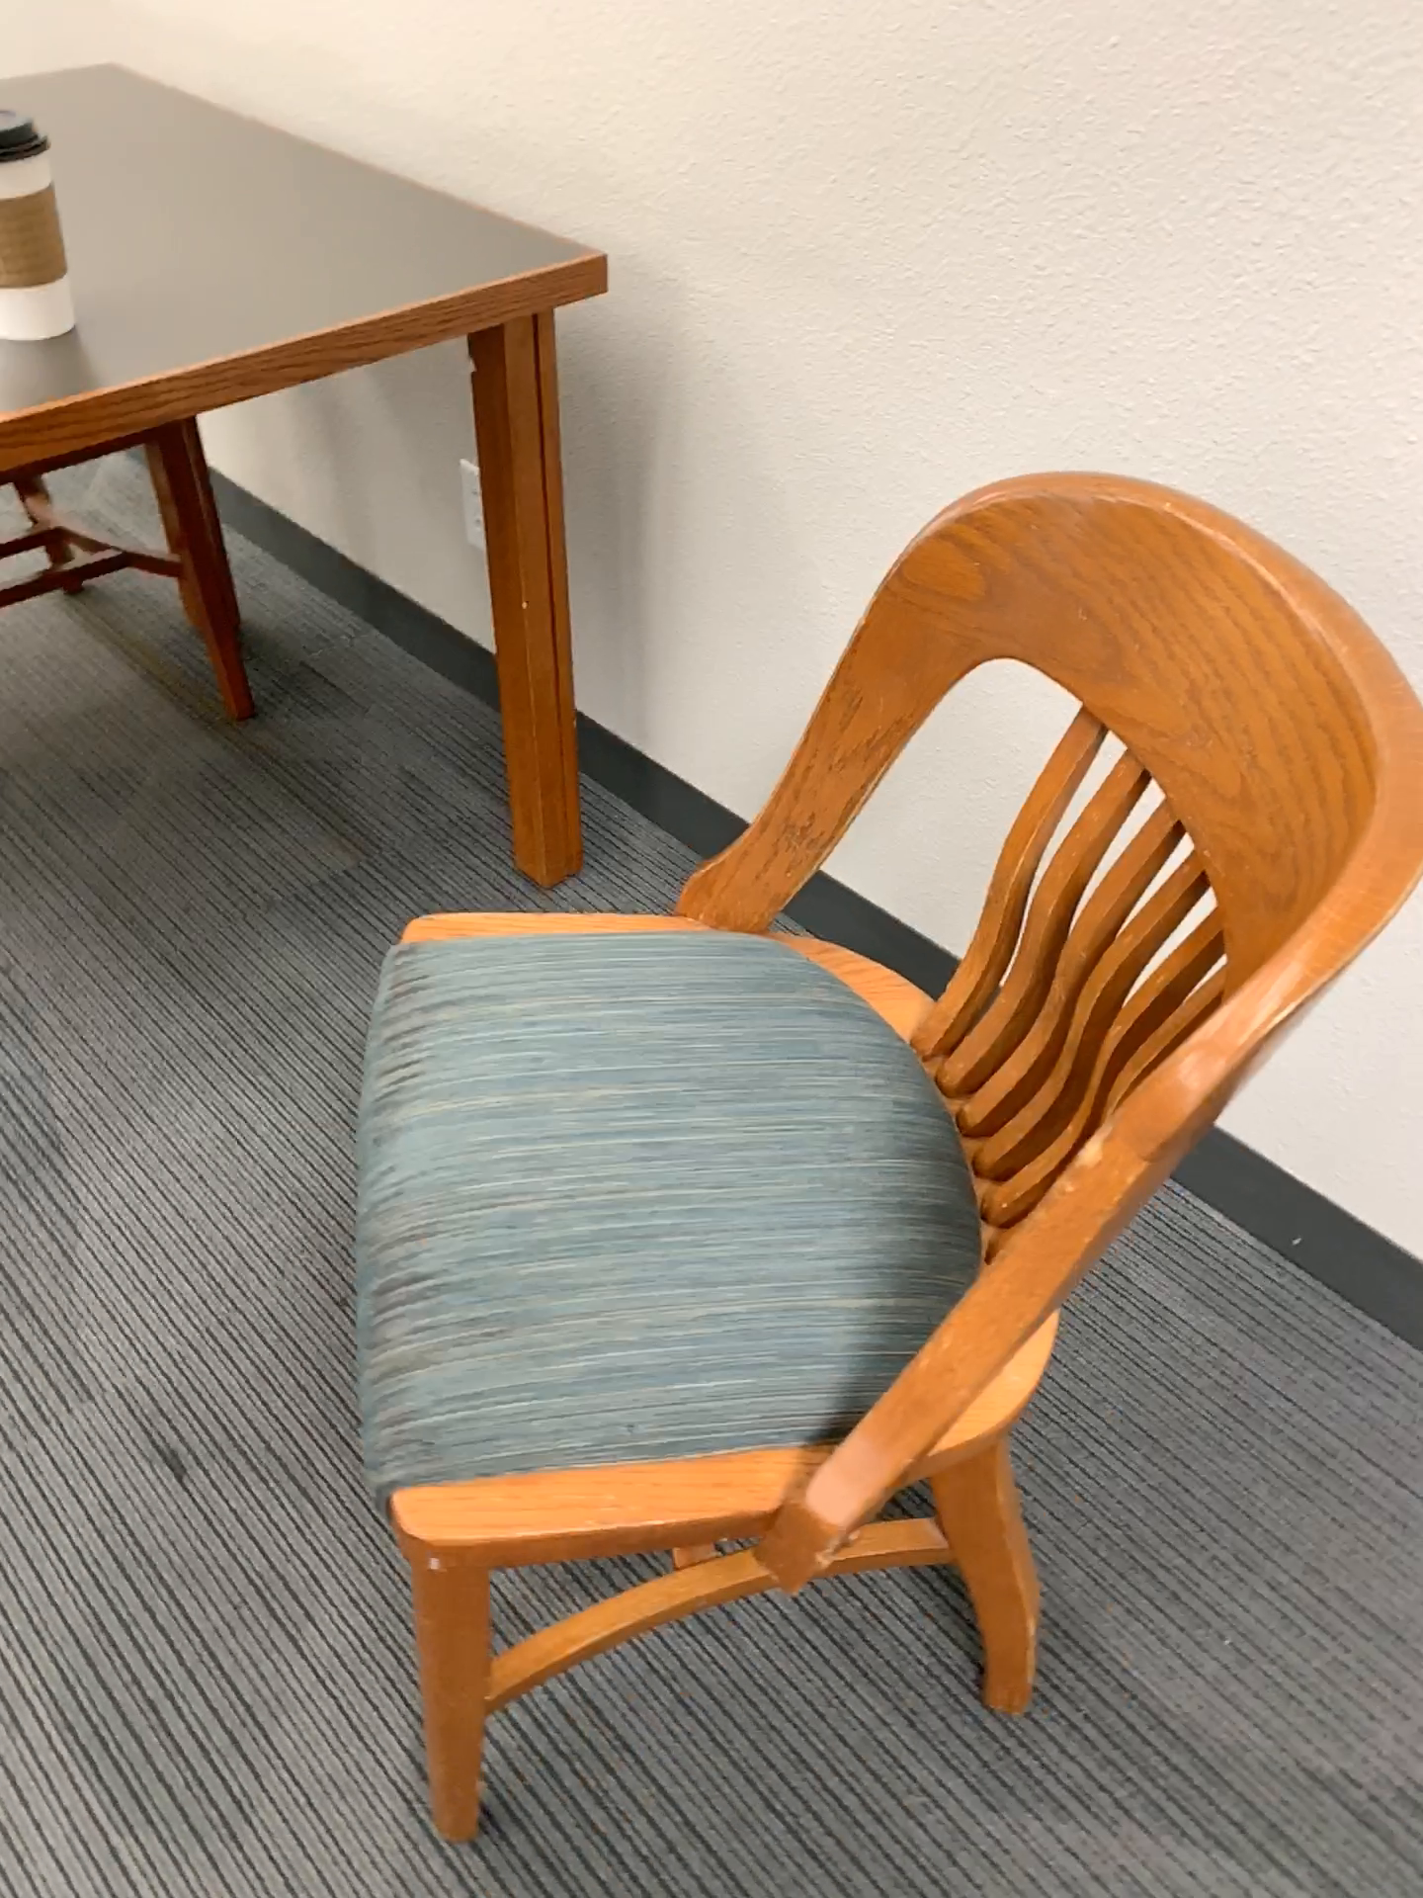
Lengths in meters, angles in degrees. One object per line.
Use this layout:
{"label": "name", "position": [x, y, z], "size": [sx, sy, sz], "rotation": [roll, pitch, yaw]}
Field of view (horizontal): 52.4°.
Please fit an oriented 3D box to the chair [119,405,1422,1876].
{"label": "chair", "position": [0.067, 0.133, 0.950], "size": [0.620, 0.747, 0.553], "rotation": [-5, 43, -7]}
